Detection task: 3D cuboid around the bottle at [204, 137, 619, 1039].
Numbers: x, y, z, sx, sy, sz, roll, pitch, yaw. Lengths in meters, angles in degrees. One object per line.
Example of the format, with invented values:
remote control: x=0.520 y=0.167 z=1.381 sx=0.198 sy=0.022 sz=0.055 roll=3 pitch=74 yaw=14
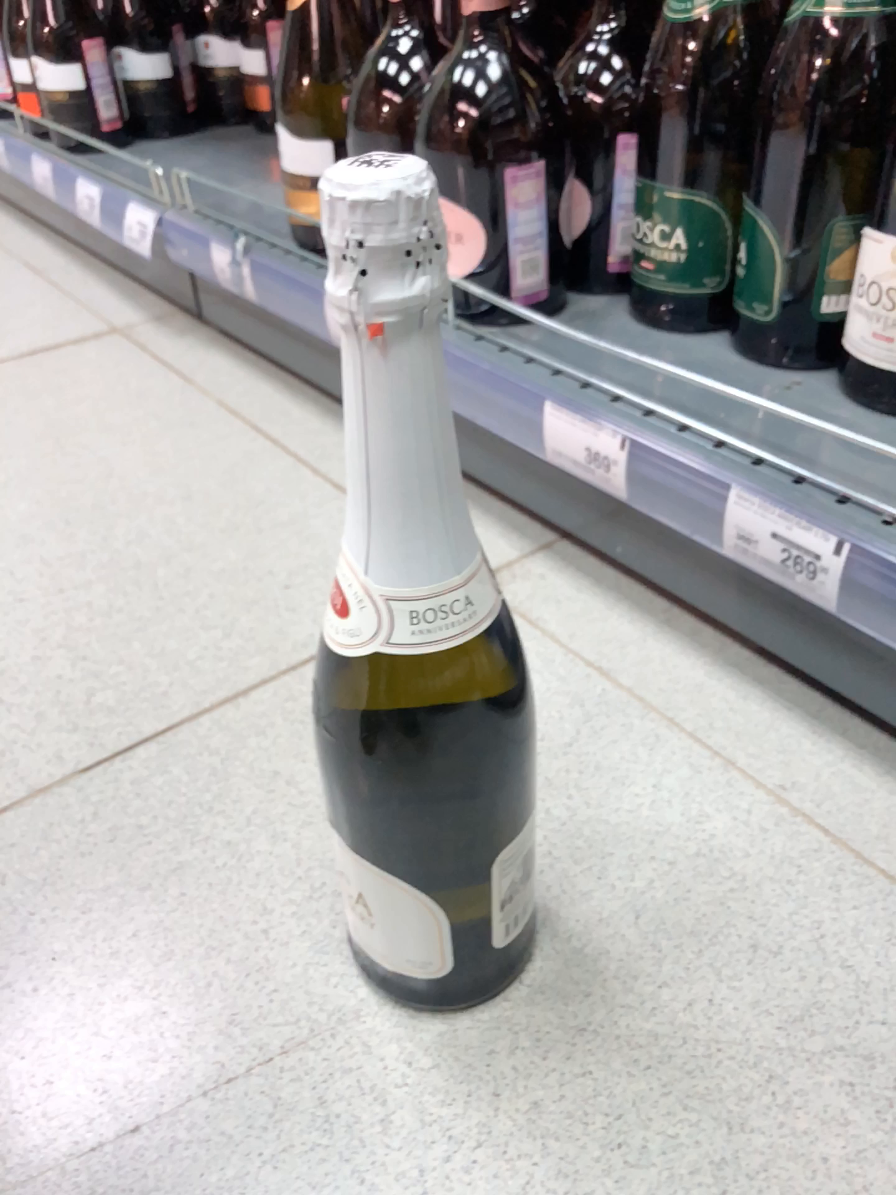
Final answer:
bottle: x=-0.008 y=0.016 z=0.353 sx=0.090 sy=0.308 sz=0.091 roll=-2 pitch=35 yaw=2
